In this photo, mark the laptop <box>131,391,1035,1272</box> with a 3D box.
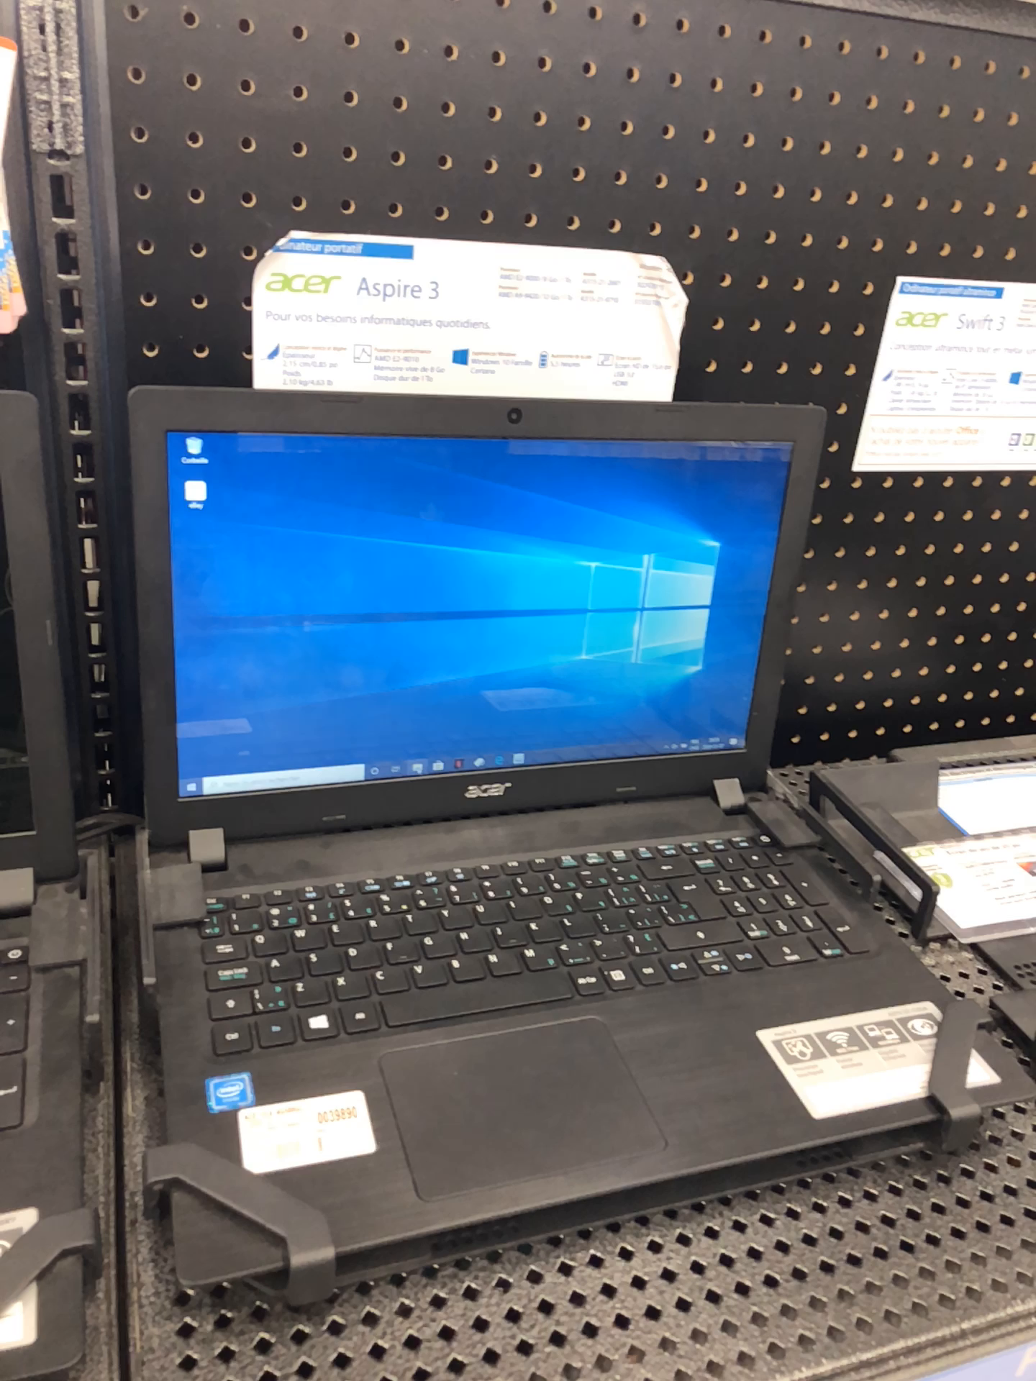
[{"bbox_3d":[0.028,0.021,0.545,0.386,0.247,0.296,-3,28,-18],"label":"laptop"}]
